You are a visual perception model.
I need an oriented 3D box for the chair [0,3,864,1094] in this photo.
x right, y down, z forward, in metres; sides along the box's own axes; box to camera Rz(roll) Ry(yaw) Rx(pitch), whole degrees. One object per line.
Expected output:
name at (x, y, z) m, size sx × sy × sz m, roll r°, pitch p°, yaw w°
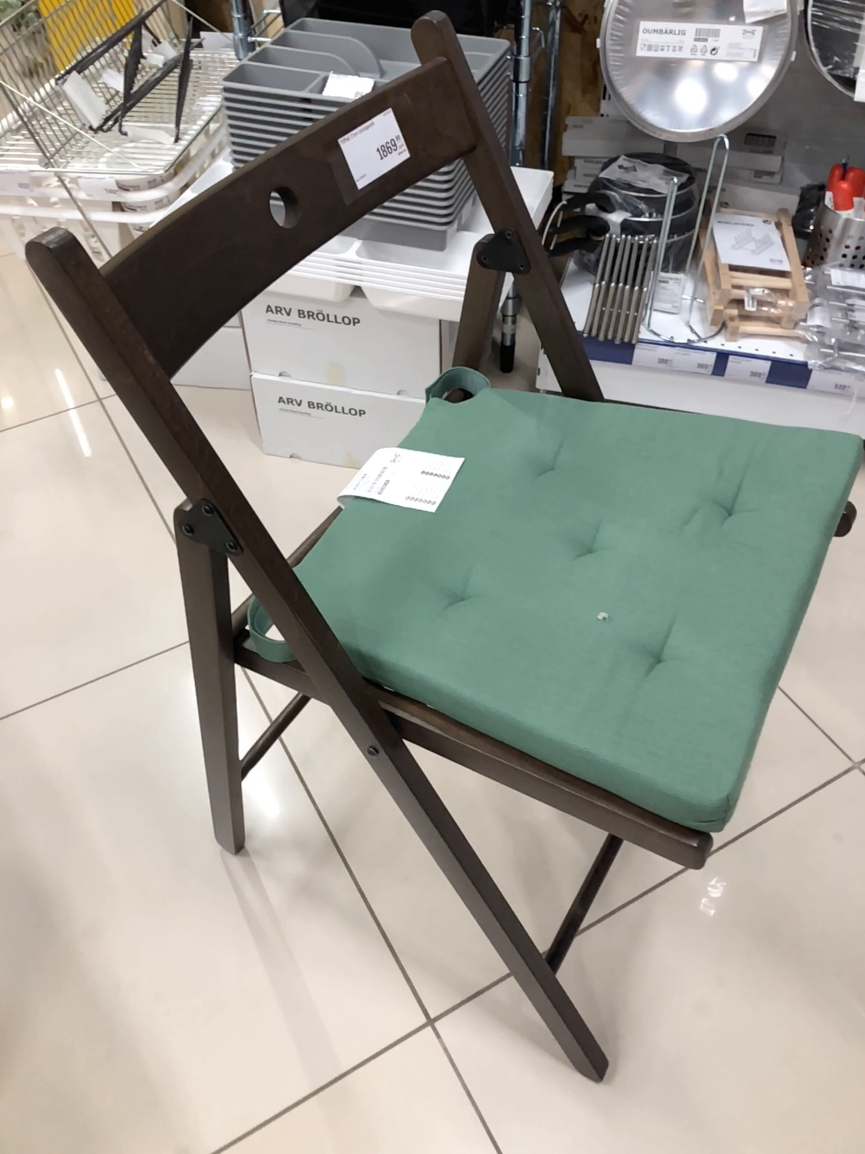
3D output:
chair at (0.063, -0.002, 0.803) m, size 0.481 × 0.686 × 0.442 m, roll 23°, pitch 52°, yaw 21°
